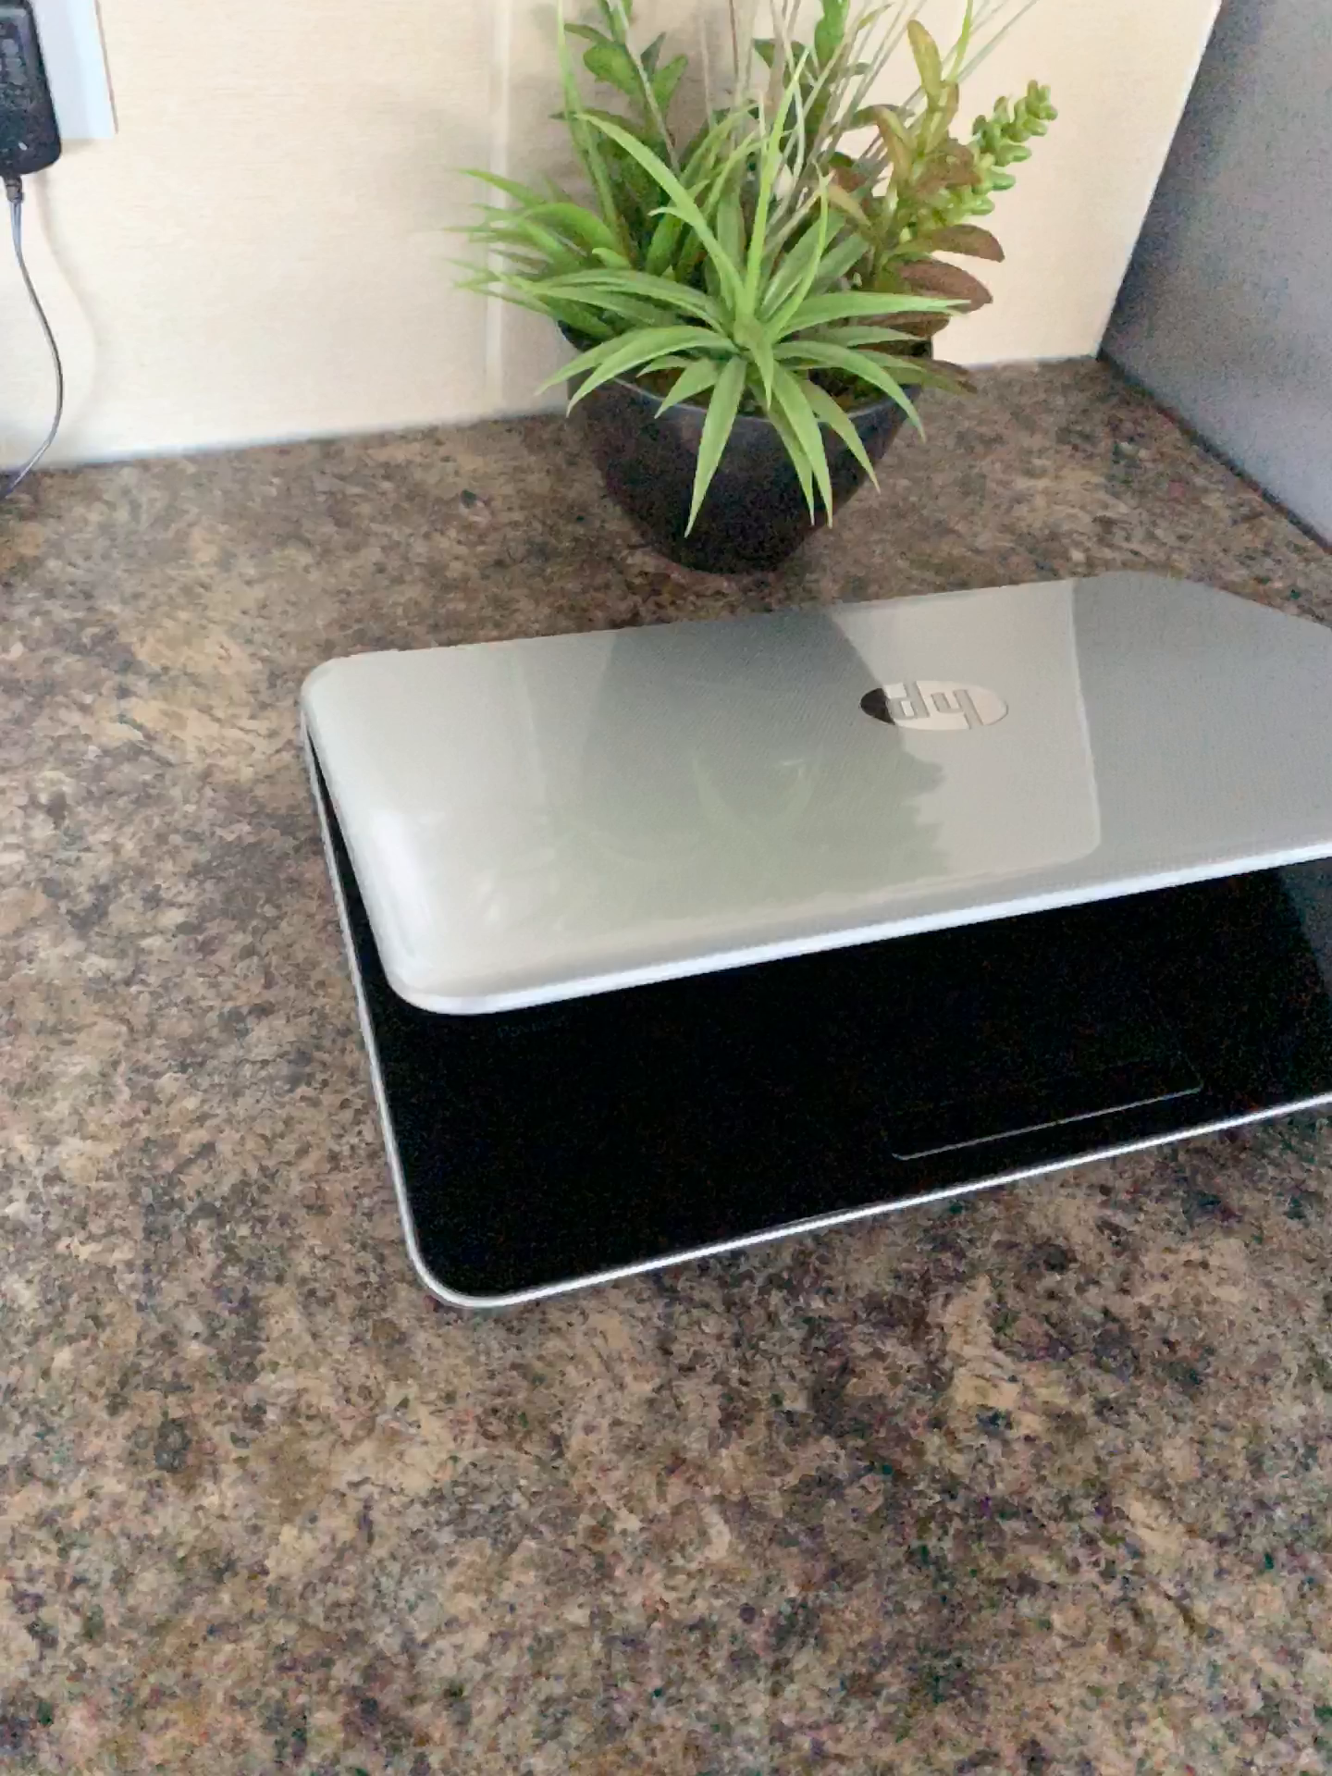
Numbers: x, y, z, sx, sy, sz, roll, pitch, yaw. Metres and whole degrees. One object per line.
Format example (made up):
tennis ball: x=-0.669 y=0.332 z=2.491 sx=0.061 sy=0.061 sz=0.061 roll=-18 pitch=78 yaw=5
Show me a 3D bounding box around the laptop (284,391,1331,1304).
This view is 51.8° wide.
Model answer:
laptop: x=0.076 y=-0.038 z=0.390 sx=0.329 sy=0.081 sz=0.207 roll=-10 pitch=51 yaw=-17
